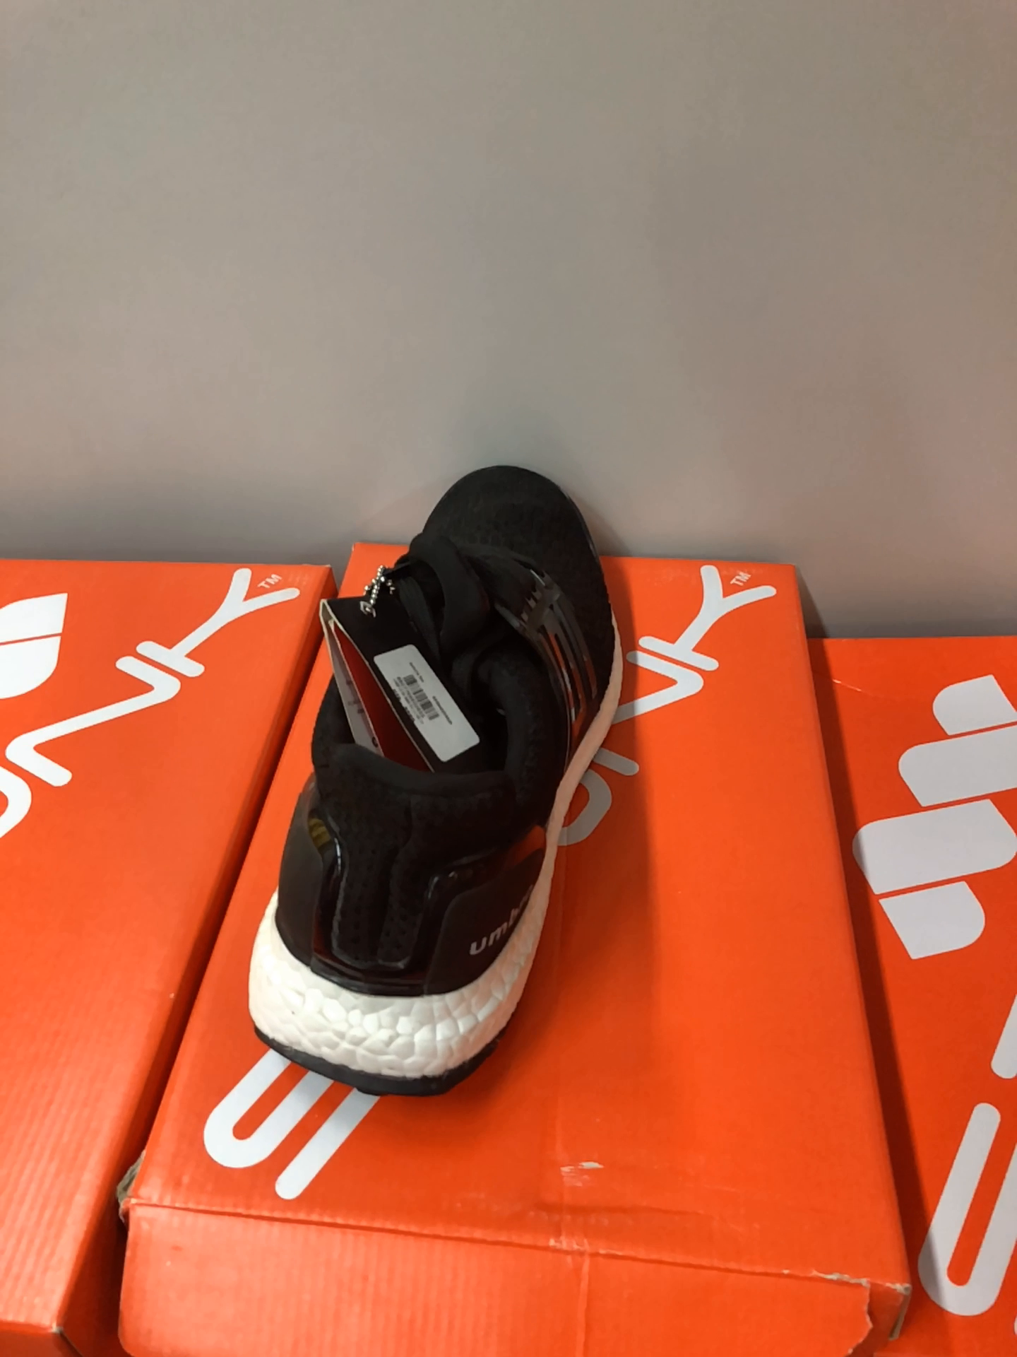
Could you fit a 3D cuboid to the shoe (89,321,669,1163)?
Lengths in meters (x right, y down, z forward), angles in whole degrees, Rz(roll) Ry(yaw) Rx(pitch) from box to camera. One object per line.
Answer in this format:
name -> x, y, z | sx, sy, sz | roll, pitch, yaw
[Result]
shoe -> -0.019, -0.002, 0.411 | 0.117, 0.120, 0.291 | 8, 44, 7
